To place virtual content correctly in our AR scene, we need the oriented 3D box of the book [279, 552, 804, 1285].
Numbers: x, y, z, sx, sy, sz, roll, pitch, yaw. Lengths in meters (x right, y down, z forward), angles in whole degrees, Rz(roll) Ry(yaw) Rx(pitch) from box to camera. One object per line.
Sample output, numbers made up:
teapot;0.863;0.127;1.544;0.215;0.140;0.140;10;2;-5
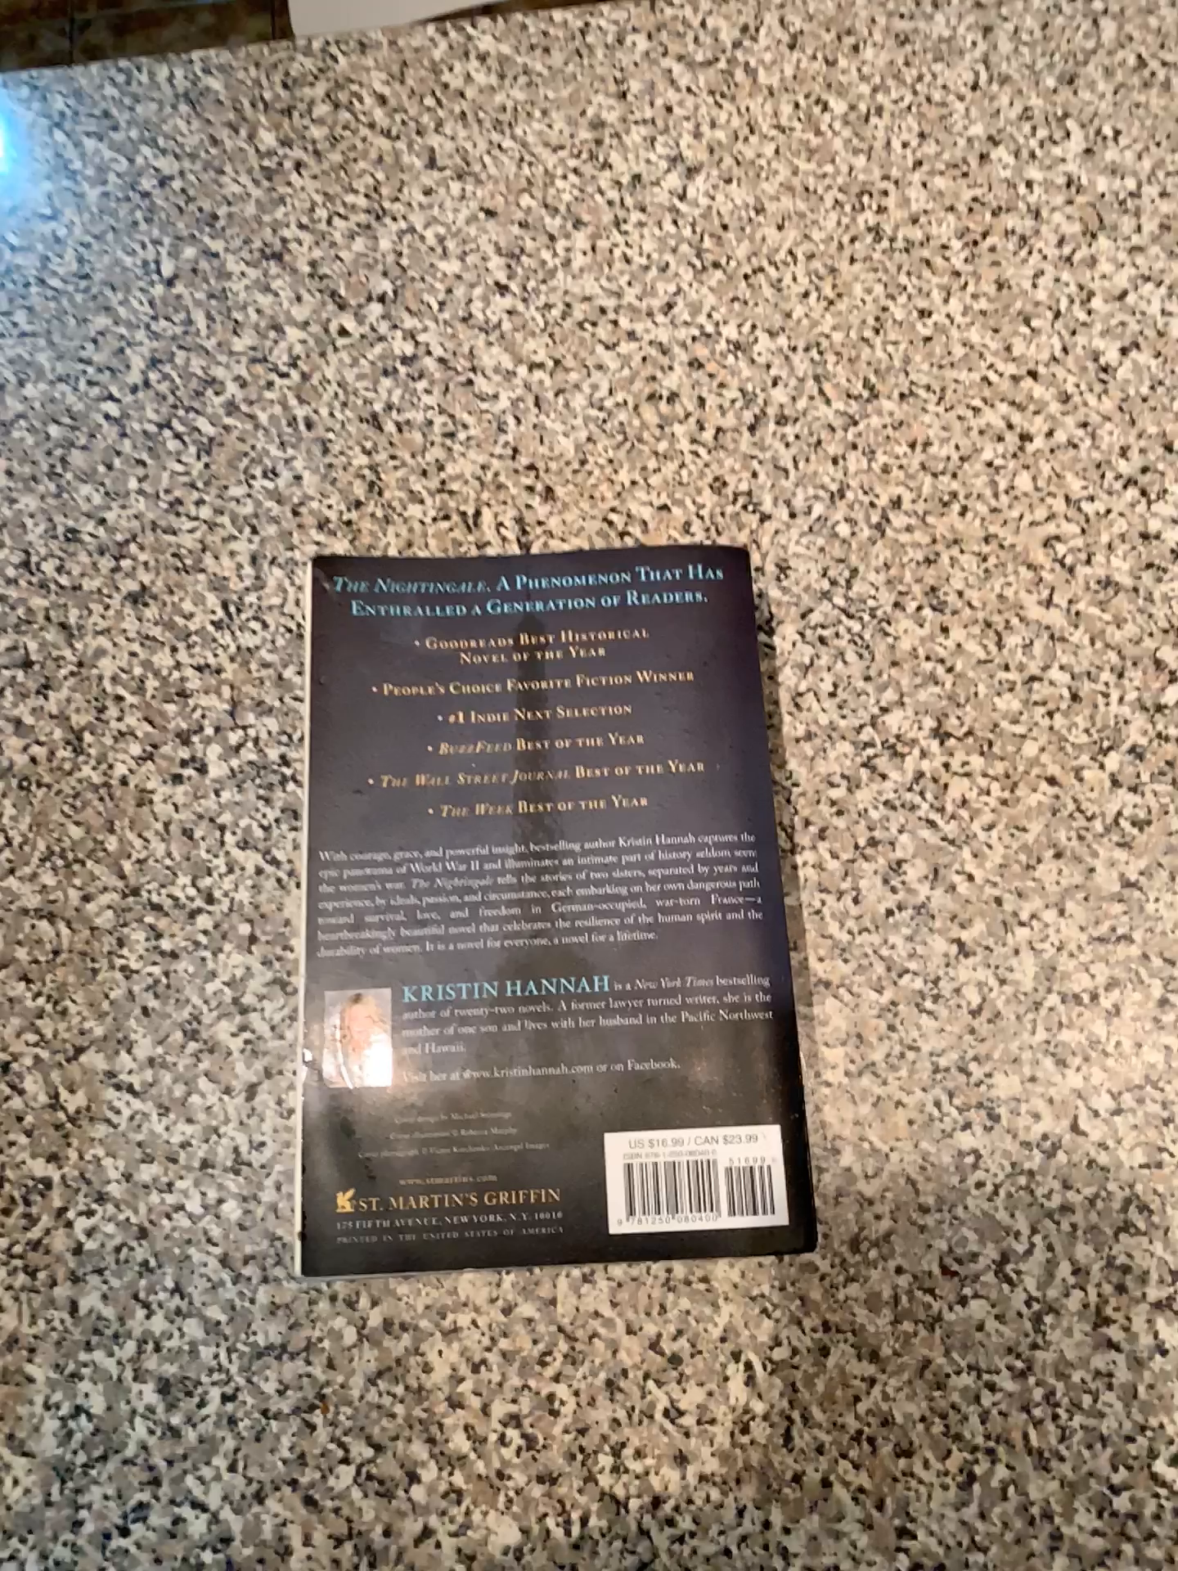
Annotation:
book;-0.015;0.038;0.373;0.139;0.056;0.207;-2;74;2
